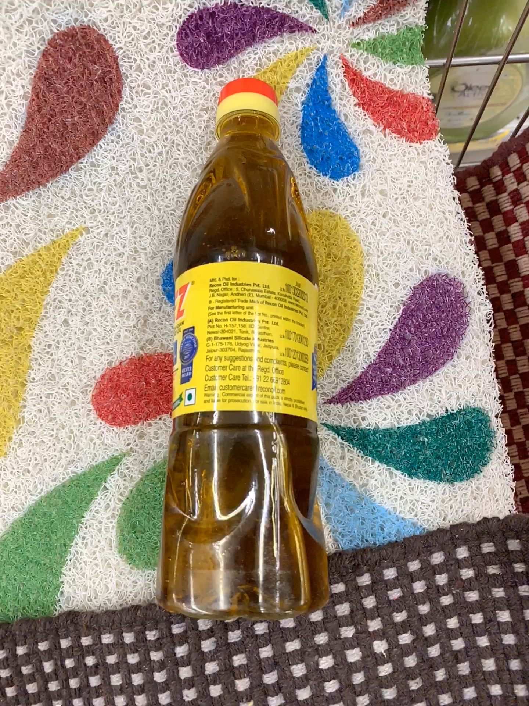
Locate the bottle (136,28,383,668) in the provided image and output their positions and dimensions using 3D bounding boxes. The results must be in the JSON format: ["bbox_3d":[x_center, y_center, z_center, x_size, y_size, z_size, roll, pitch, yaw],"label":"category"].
[{"bbox_3d":[-0.002,-0.005,0.201,0.070,0.060,0.200,2,80,-6],"label":"bottle"}]
